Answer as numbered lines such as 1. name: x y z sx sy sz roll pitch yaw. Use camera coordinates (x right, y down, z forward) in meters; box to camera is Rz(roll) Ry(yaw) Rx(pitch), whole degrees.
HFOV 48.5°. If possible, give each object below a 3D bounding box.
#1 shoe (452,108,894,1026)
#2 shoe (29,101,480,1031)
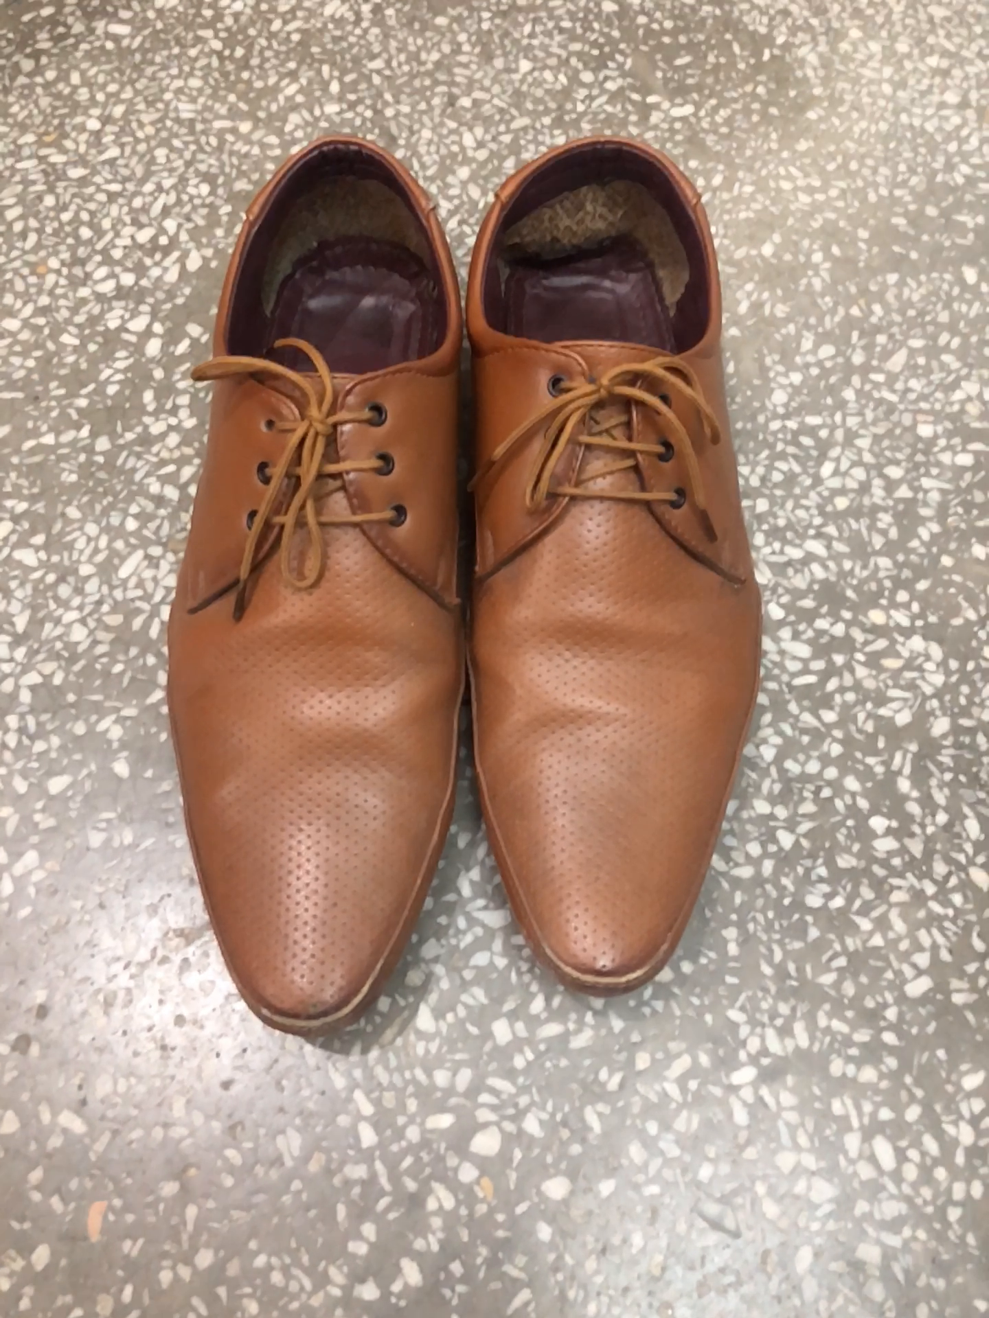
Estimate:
1. shoe: 0.039 -0.031 0.370 0.105 0.118 0.285 0 68 -2
2. shoe: -0.060 -0.030 0.365 0.105 0.118 0.285 0 68 -2
